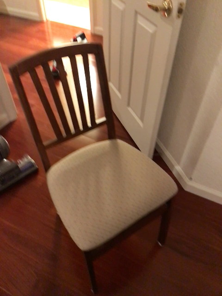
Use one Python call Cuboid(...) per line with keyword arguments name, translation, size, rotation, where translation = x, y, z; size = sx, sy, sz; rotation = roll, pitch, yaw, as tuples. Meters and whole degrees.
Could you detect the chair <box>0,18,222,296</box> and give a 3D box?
Cuboid(name="chair", translation=(-0.047, 0.099, 0.976), size=(0.502, 0.924, 0.562), rotation=(-25, 50, -22))
